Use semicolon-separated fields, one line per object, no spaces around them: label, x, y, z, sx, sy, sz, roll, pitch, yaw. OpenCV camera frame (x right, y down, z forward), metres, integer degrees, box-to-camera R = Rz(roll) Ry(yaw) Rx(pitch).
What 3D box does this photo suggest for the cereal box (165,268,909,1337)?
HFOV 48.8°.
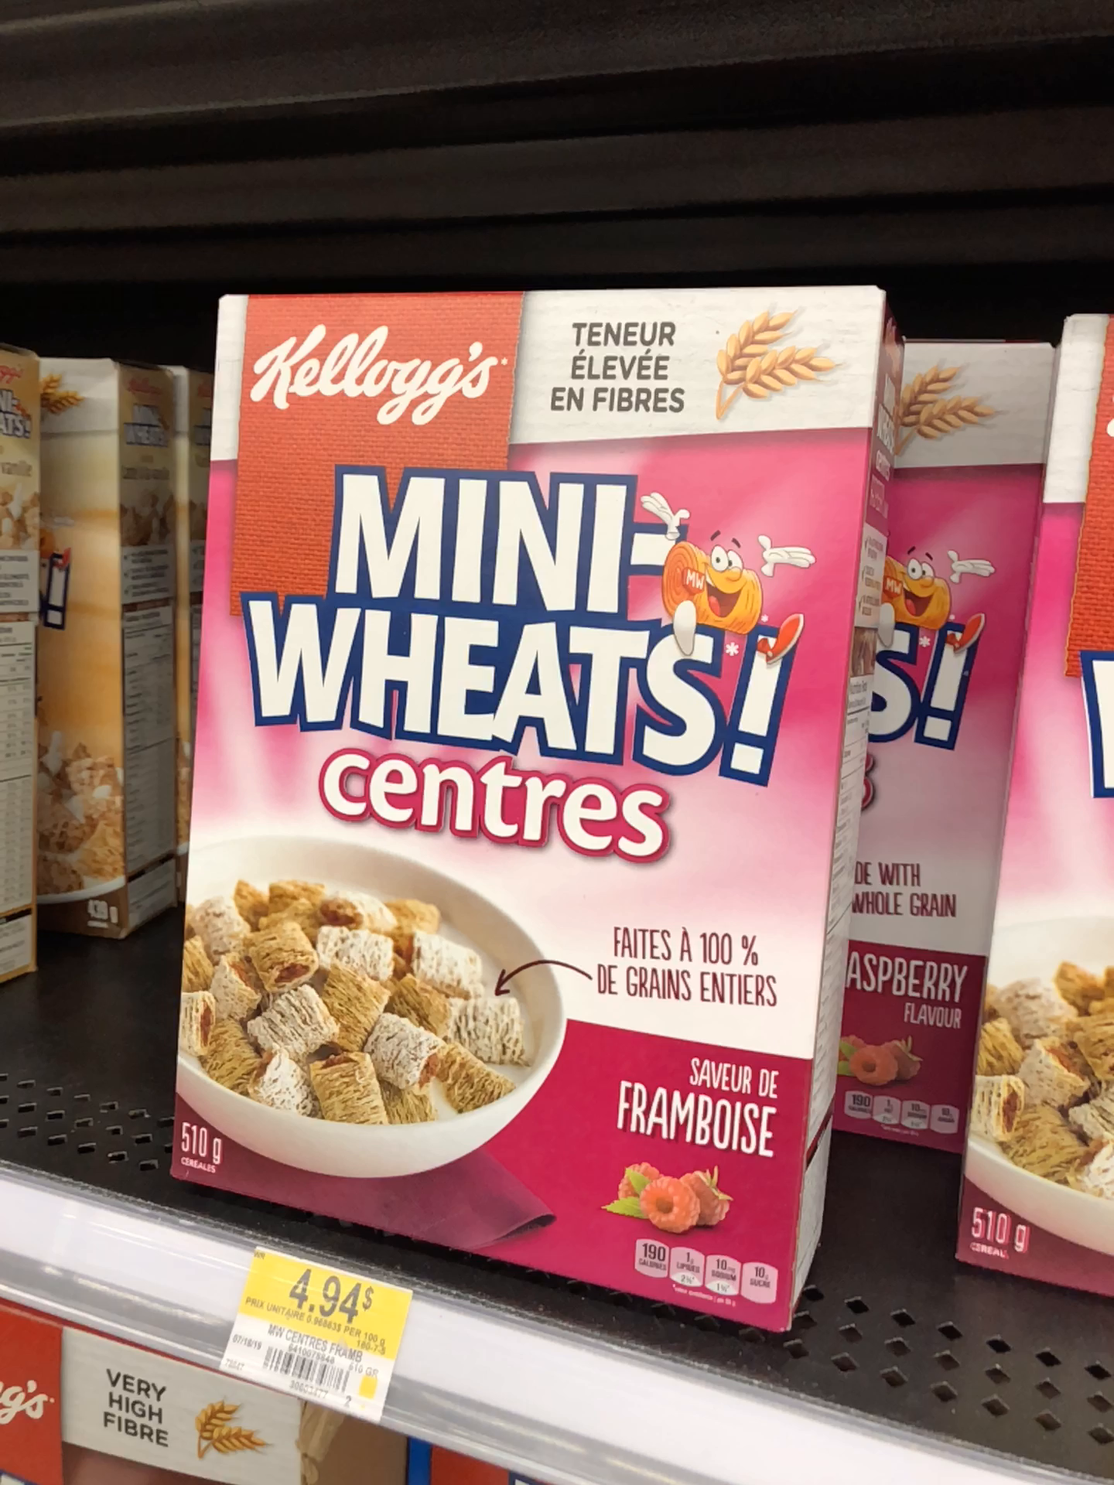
cereal box;-0.009;0.008;0.359;0.190;0.259;0.070;6;6;19
